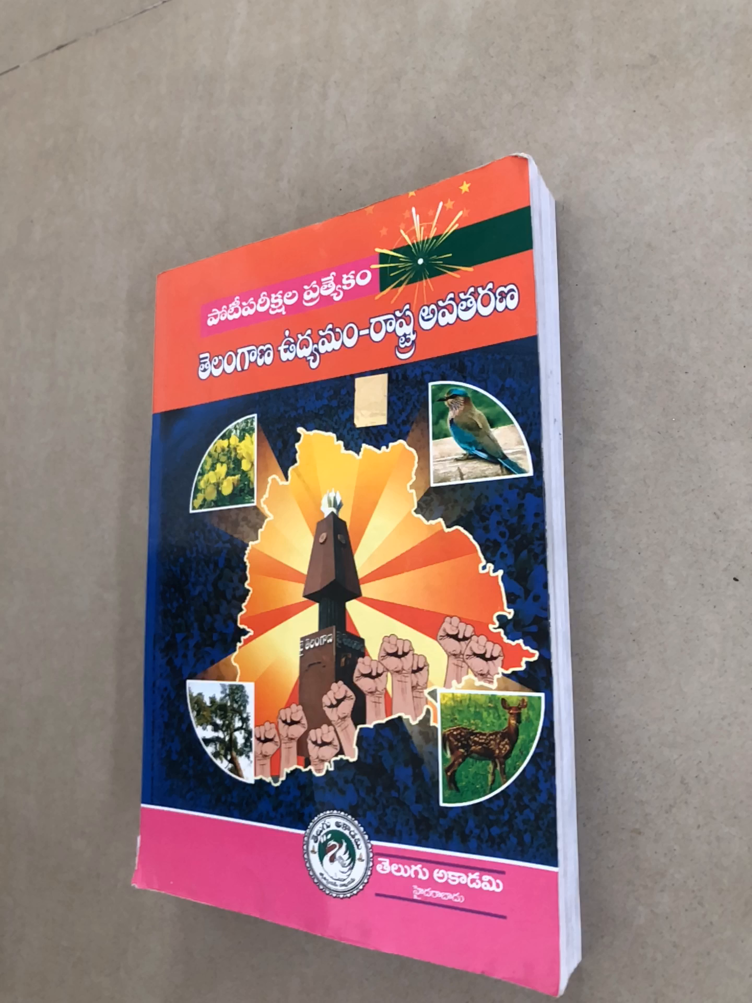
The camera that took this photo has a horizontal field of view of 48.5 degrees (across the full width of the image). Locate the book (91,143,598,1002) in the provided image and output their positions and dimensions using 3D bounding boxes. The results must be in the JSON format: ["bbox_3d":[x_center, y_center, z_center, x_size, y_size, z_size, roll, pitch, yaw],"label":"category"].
[{"bbox_3d":[-0.024,0.023,0.329,0.202,0.040,0.265,-6,79,33],"label":"book"}]
